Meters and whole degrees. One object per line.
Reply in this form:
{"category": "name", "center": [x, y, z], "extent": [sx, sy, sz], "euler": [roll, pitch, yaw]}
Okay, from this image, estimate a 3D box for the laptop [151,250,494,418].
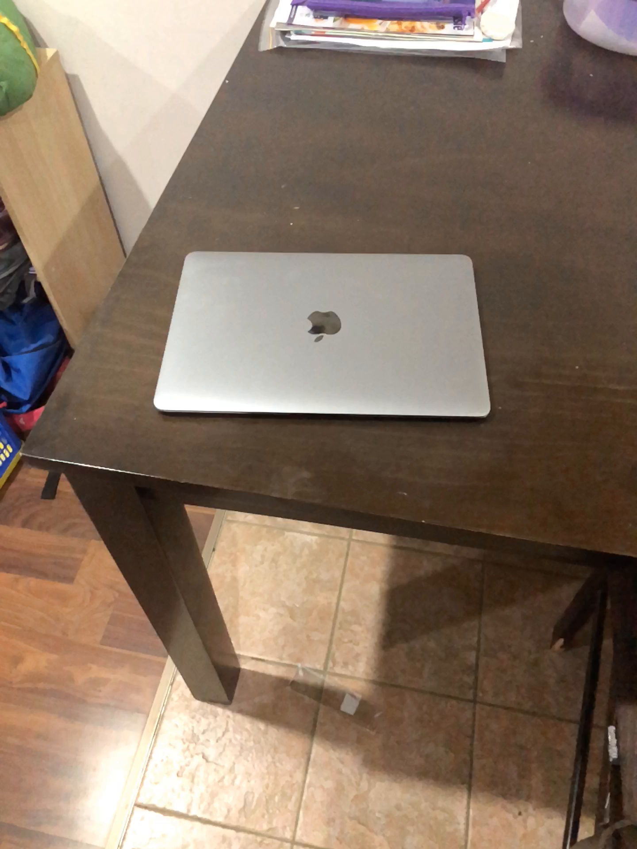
{"category": "laptop", "center": [0.007, -0.087, 0.621], "extent": [0.275, 0.002, 0.196], "euler": [1, 53, 0]}
